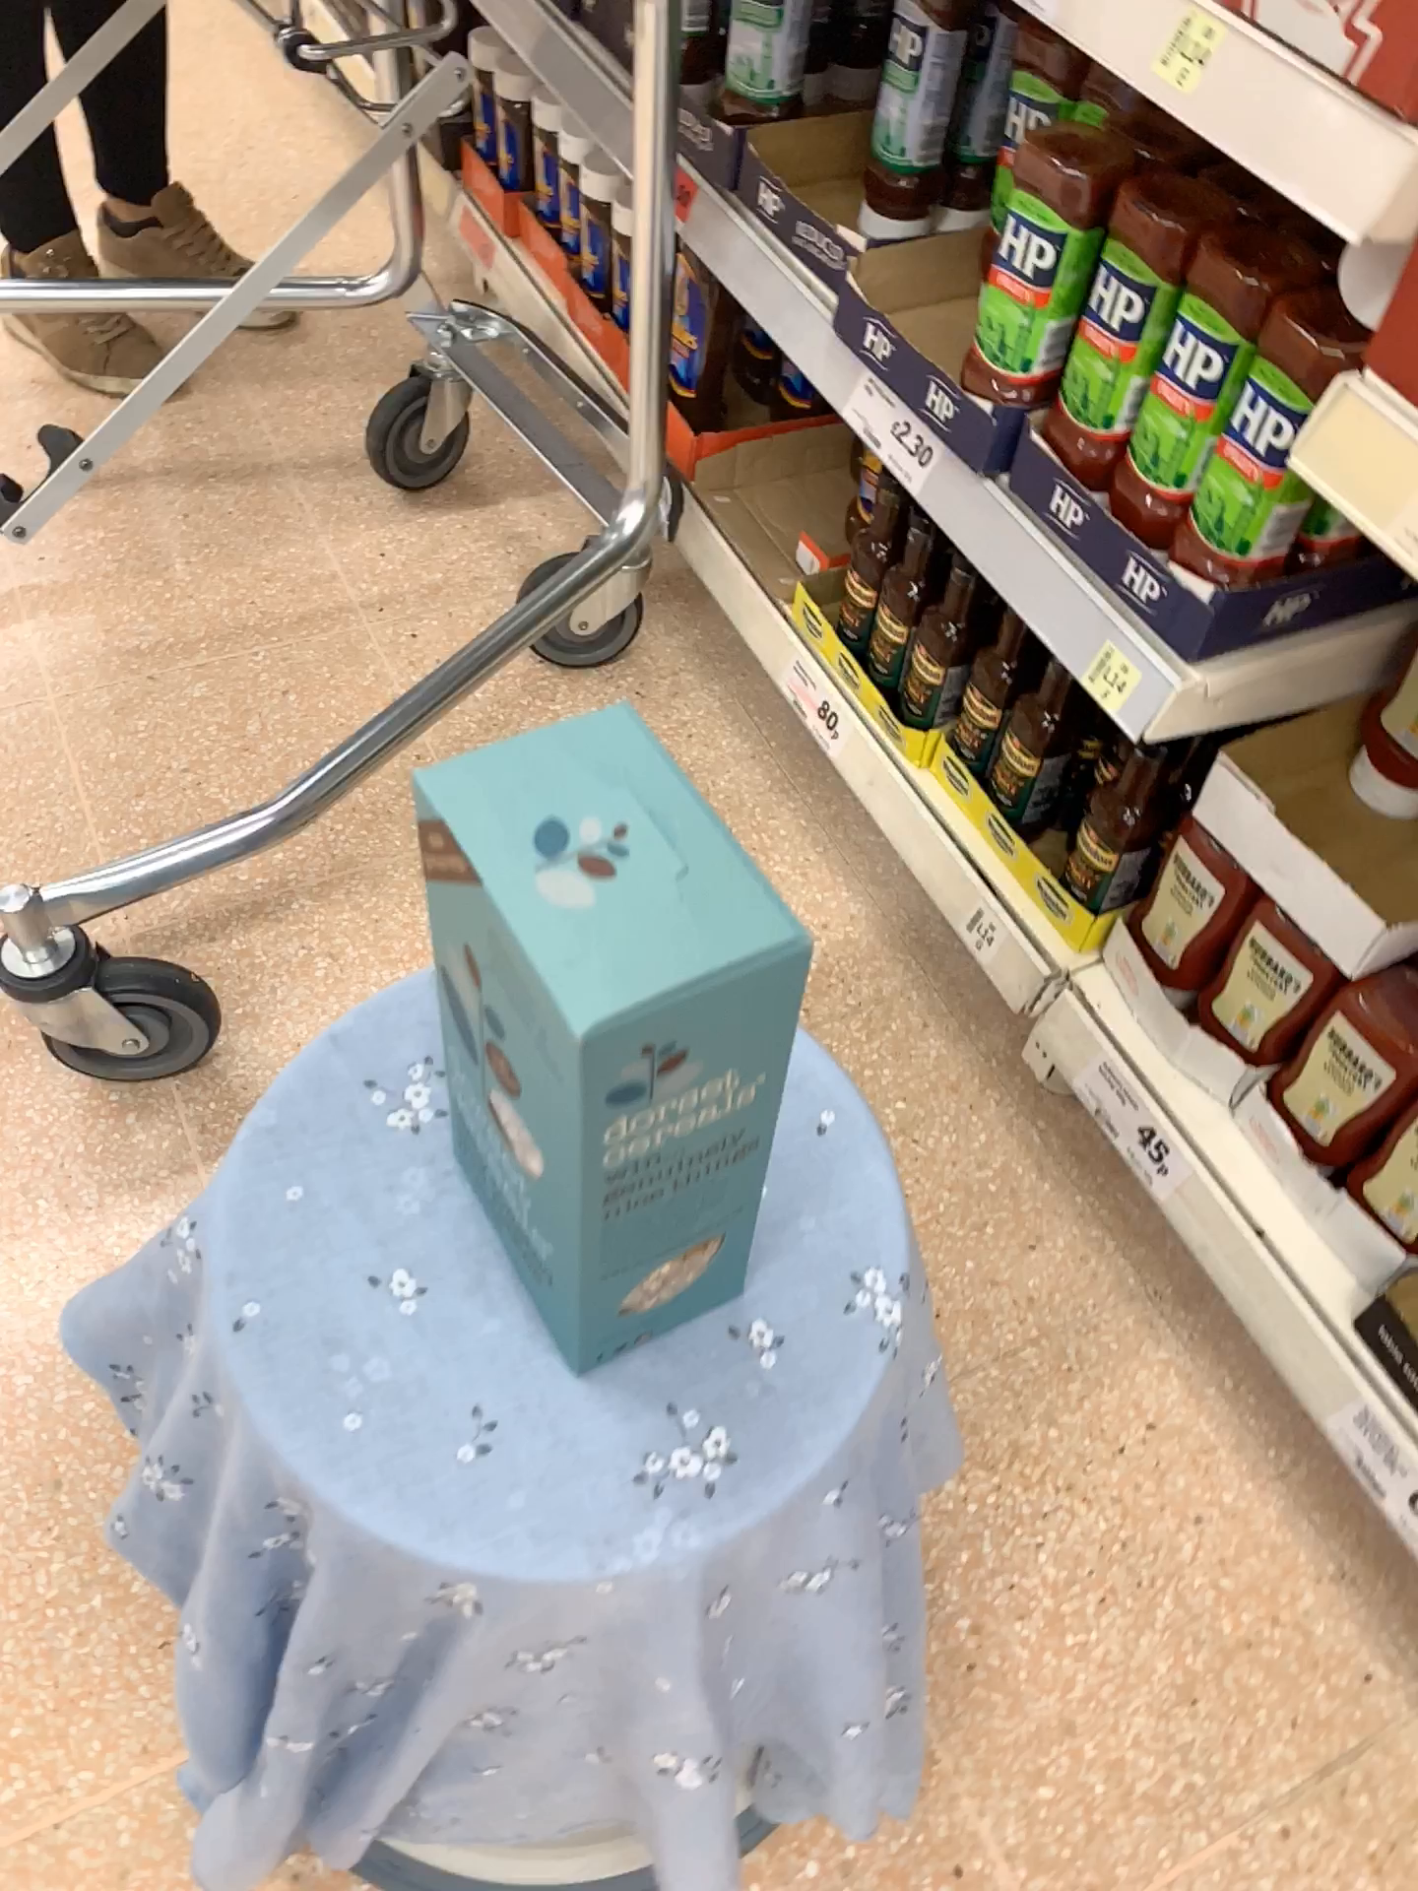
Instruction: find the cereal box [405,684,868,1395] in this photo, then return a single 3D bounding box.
[{"bbox_3d":[-0.035,0.045,0.523,0.090,0.238,0.121,-23,58,-23],"label":"cereal box"}]
